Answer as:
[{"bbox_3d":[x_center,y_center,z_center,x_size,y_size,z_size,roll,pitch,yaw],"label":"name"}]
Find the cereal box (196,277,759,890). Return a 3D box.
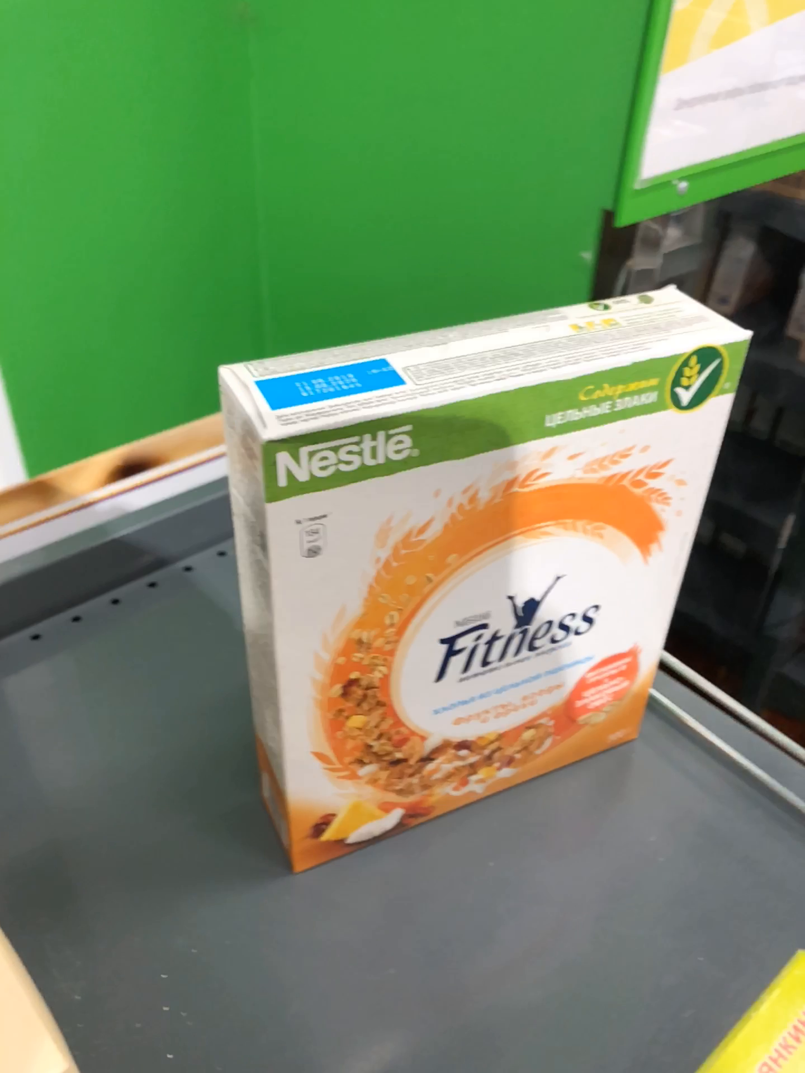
[{"bbox_3d":[0.028,0.025,0.394,0.200,0.239,0.060,-15,40,-21],"label":"cereal box"}]
